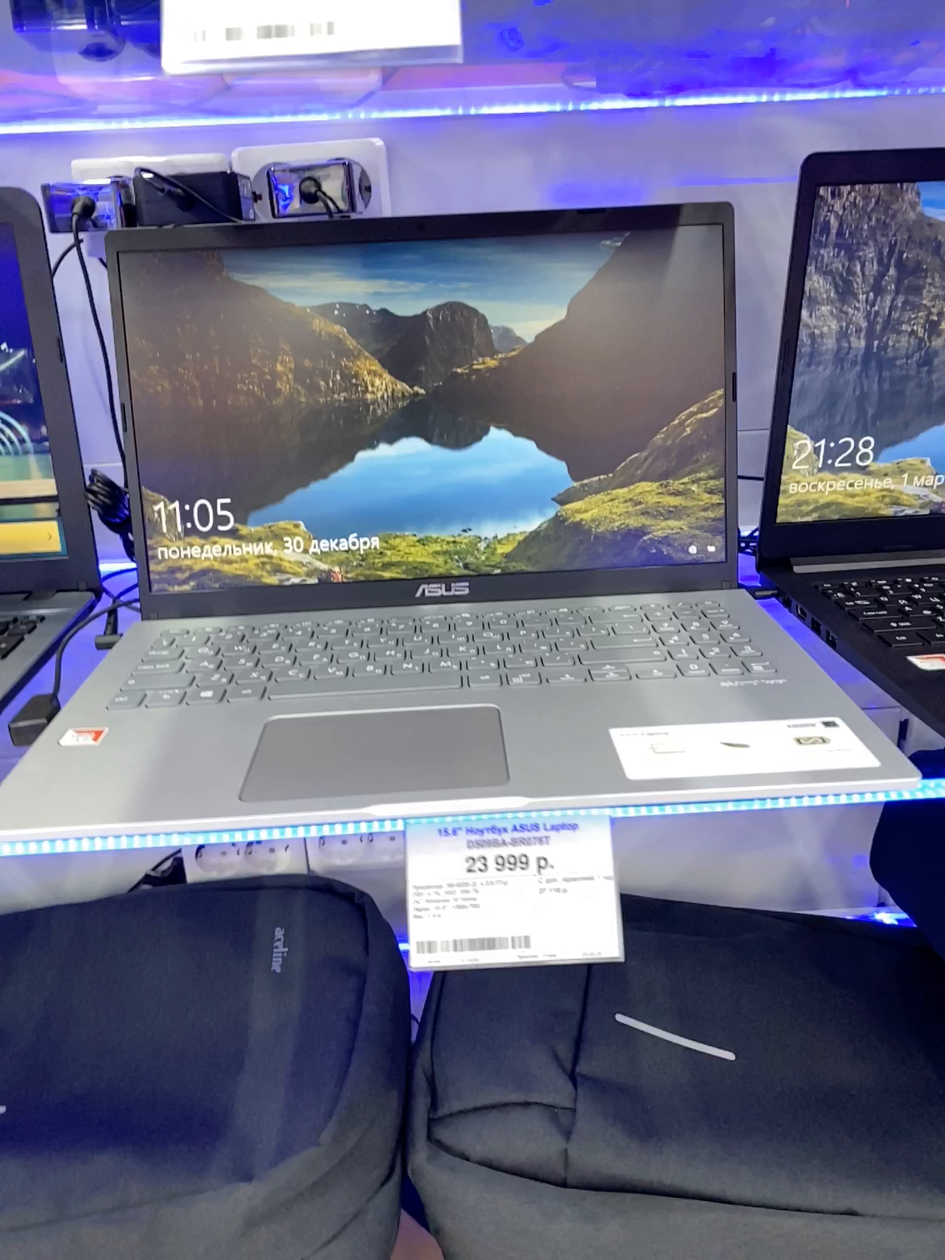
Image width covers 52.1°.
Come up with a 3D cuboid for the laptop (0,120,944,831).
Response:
[{"bbox_3d":[-0.018,-0.086,0.454,0.360,0.216,0.286,-3,19,-1],"label":"laptop"}]
